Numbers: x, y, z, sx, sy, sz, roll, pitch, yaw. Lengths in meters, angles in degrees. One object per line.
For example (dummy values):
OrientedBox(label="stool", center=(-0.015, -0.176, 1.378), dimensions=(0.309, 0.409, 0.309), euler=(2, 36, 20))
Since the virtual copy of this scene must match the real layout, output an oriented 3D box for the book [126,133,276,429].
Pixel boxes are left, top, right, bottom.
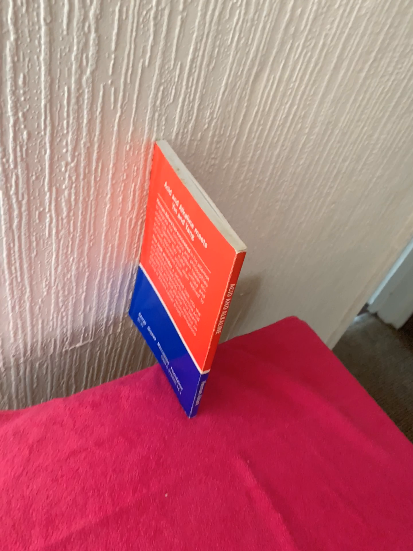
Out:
OrientedBox(label="book", center=(-0.024, 0.013, 0.362), dimensions=(0.020, 0.208, 0.151), euler=(-15, 51, -28))
